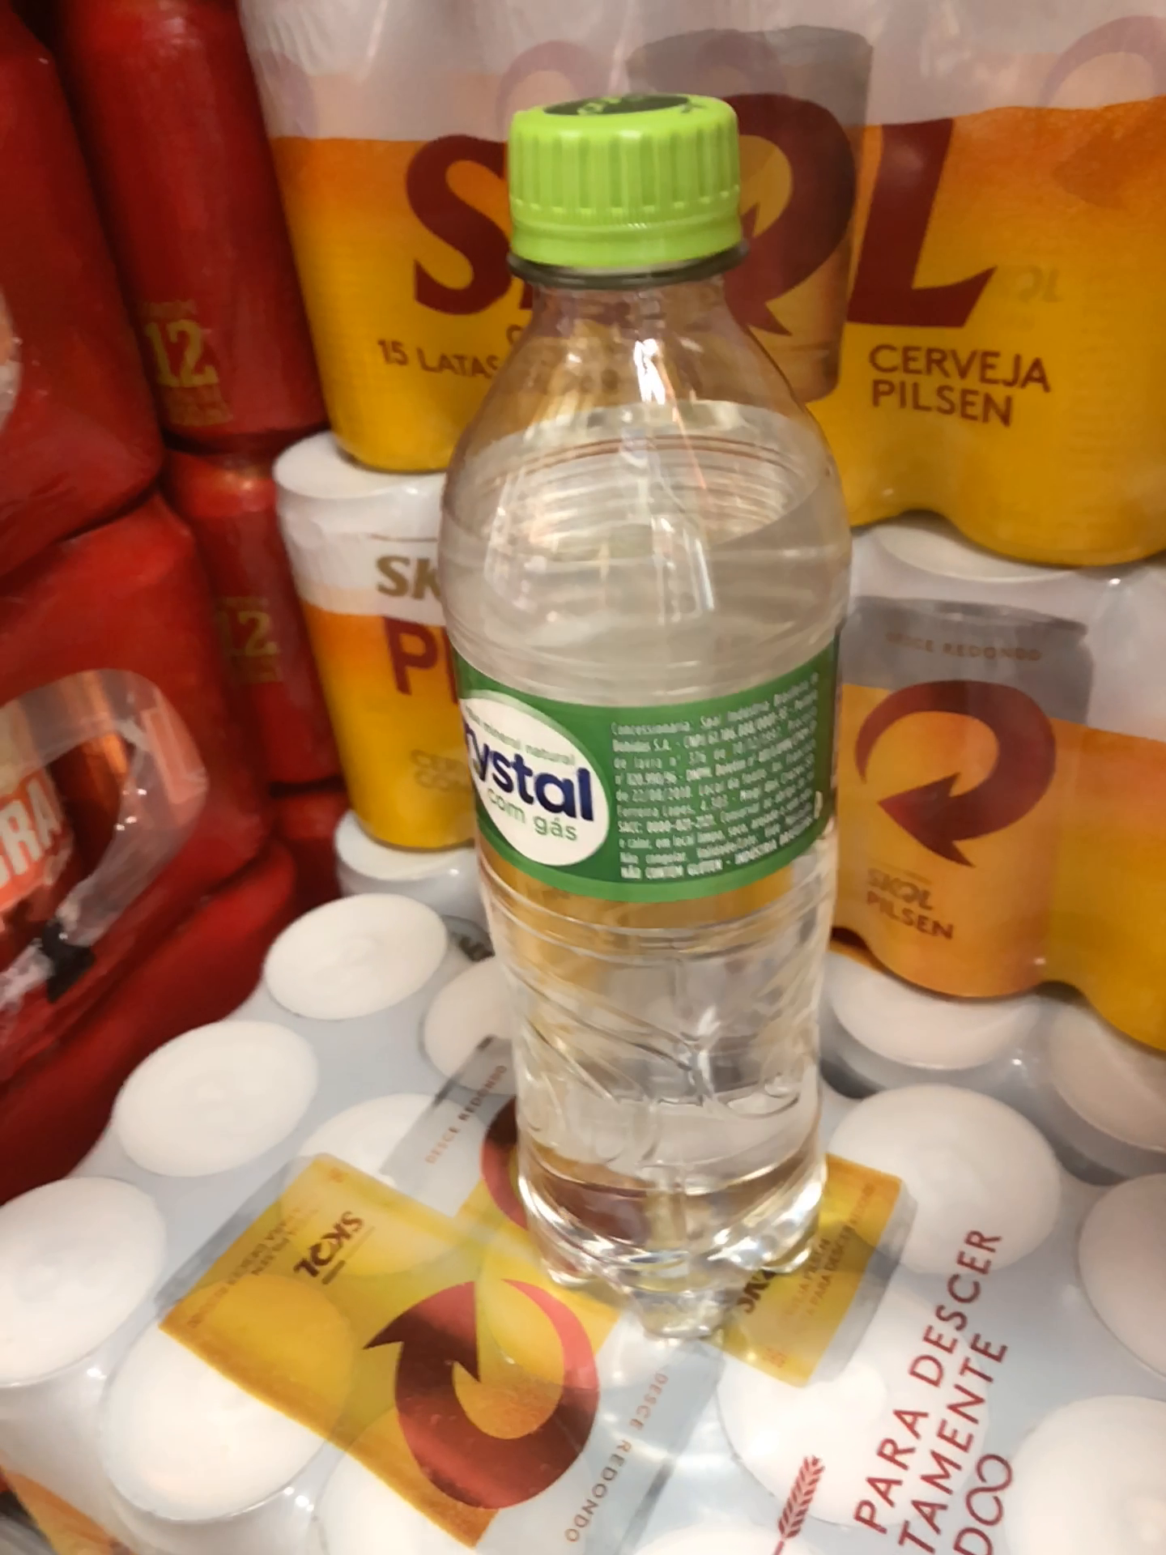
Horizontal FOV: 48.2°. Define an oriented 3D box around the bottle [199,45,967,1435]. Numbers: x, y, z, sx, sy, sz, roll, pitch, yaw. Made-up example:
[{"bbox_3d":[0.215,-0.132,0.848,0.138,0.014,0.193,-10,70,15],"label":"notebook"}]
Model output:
[{"bbox_3d":[0.011,0.008,0.217,0.060,0.218,0.070,-31,41,-28],"label":"bottle"}]
